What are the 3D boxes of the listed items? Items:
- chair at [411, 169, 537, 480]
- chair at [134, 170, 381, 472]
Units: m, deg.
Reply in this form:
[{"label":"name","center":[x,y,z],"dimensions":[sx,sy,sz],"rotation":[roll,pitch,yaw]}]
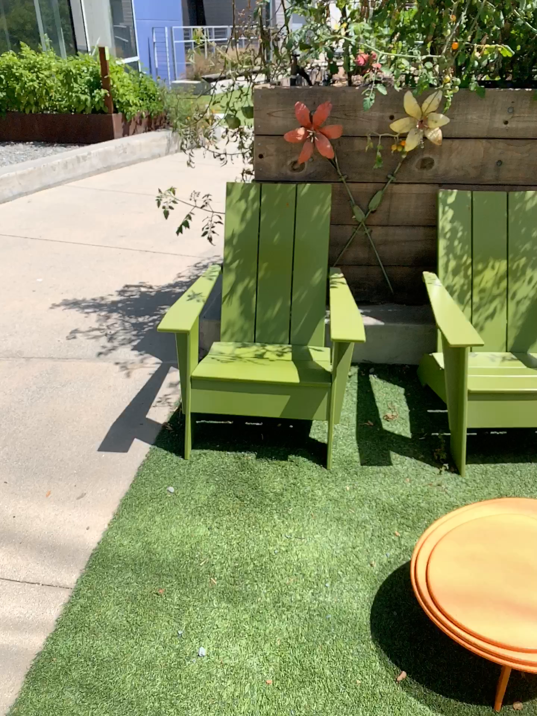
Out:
[{"label":"chair","center":[0.988,-0.192,2.185],"dimensions":[0.680,0.986,0.893],"rotation":[0,16,7]},{"label":"chair","center":[0.000,-0.210,2.092],"dimensions":[0.680,0.836,0.904],"rotation":[3,25,5]}]
